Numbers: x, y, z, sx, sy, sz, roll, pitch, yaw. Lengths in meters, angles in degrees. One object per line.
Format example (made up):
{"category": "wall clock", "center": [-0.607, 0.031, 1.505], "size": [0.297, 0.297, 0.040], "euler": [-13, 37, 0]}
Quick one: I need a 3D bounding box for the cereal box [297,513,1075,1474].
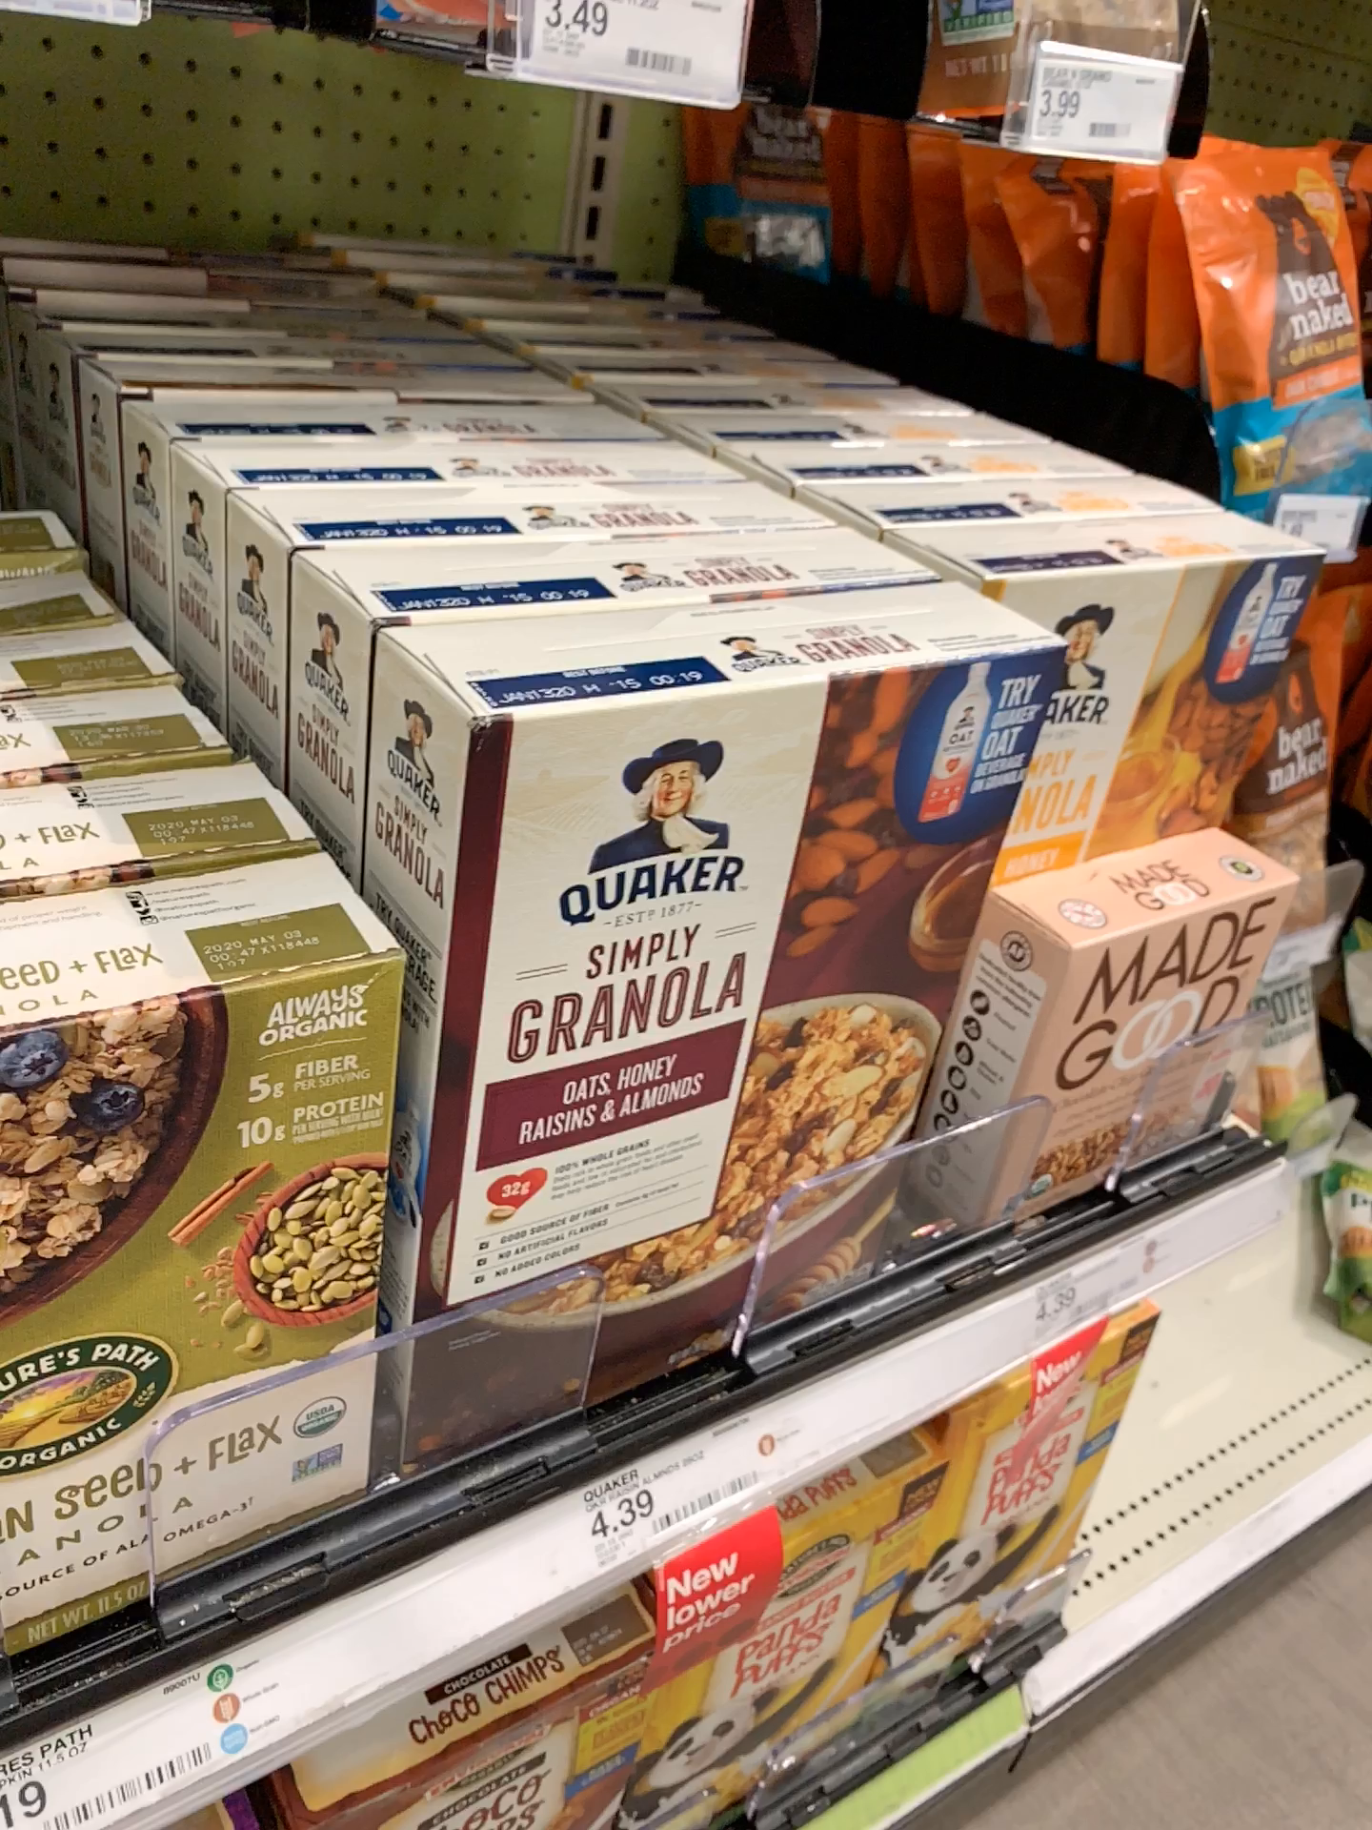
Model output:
{"category": "cereal box", "center": [-0.009, 0.021, 0.405], "size": [0.180, 0.249, 0.060], "euler": [-13, 39, -34]}
